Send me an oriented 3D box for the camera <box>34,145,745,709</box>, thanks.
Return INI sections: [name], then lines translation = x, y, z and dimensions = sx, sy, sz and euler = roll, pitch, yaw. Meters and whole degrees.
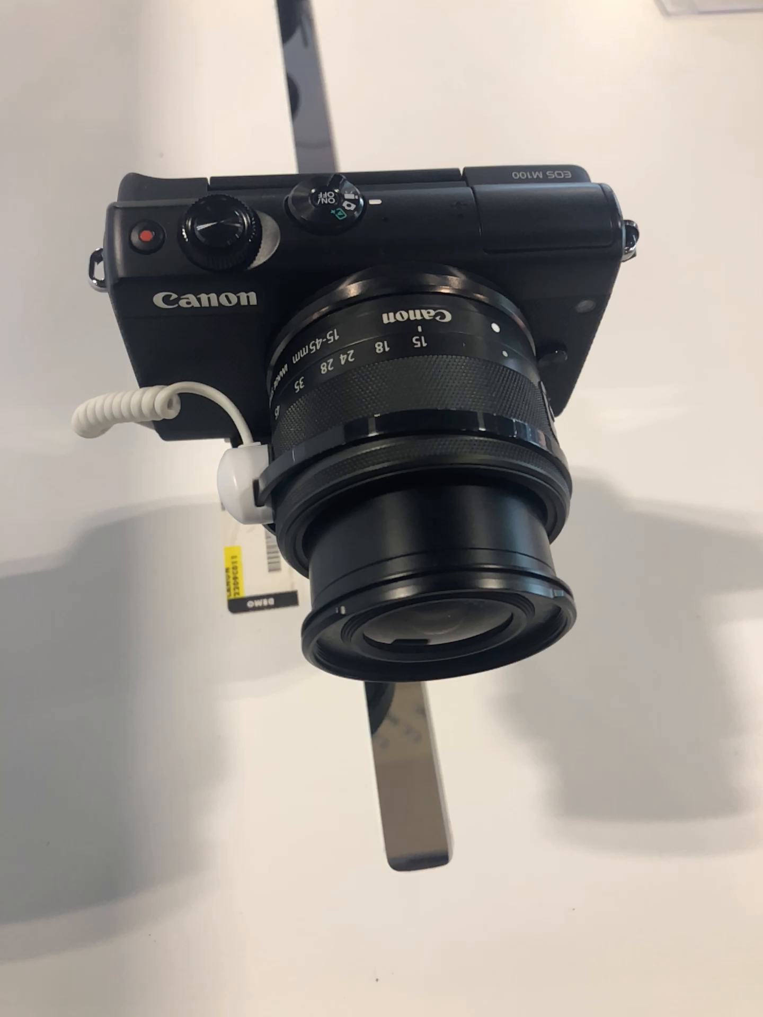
[camera]
translation = -0.002, -0.016, 0.184
dimensions = 0.110, 0.072, 0.091
euler = -4, 61, -4
